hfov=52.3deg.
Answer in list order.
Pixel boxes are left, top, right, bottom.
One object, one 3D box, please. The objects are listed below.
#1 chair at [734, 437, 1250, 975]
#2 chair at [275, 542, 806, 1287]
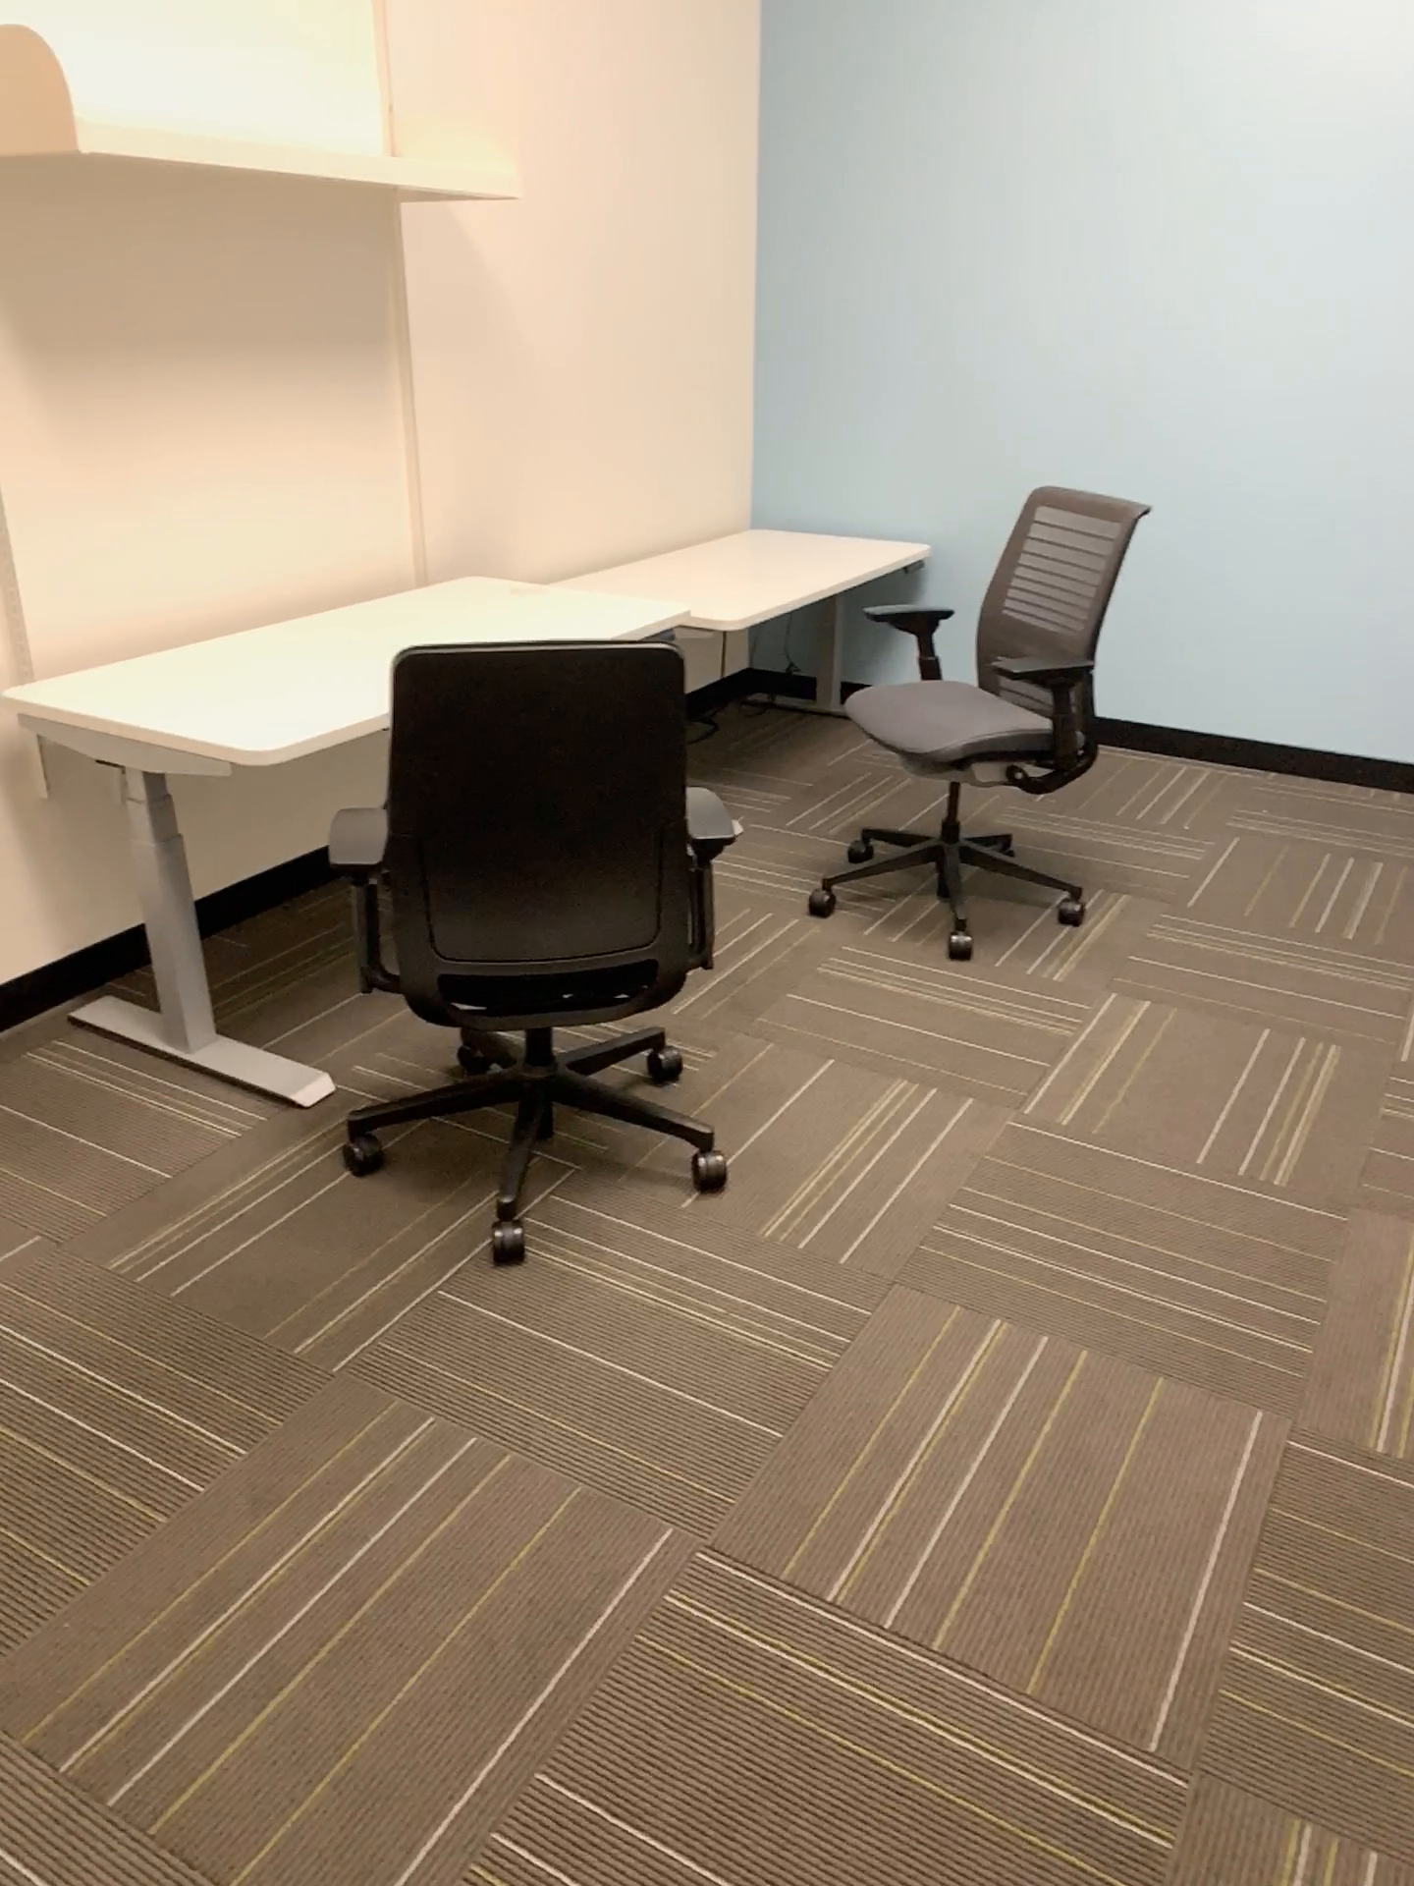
[{"bbox_3d":[0.577,-0.607,3.352,0.770,0.994,0.895,-7,25,-16],"label":"chair"},{"bbox_3d":[-0.304,-0.109,2.362,0.680,0.935,0.775,-6,25,-14],"label":"chair"}]
